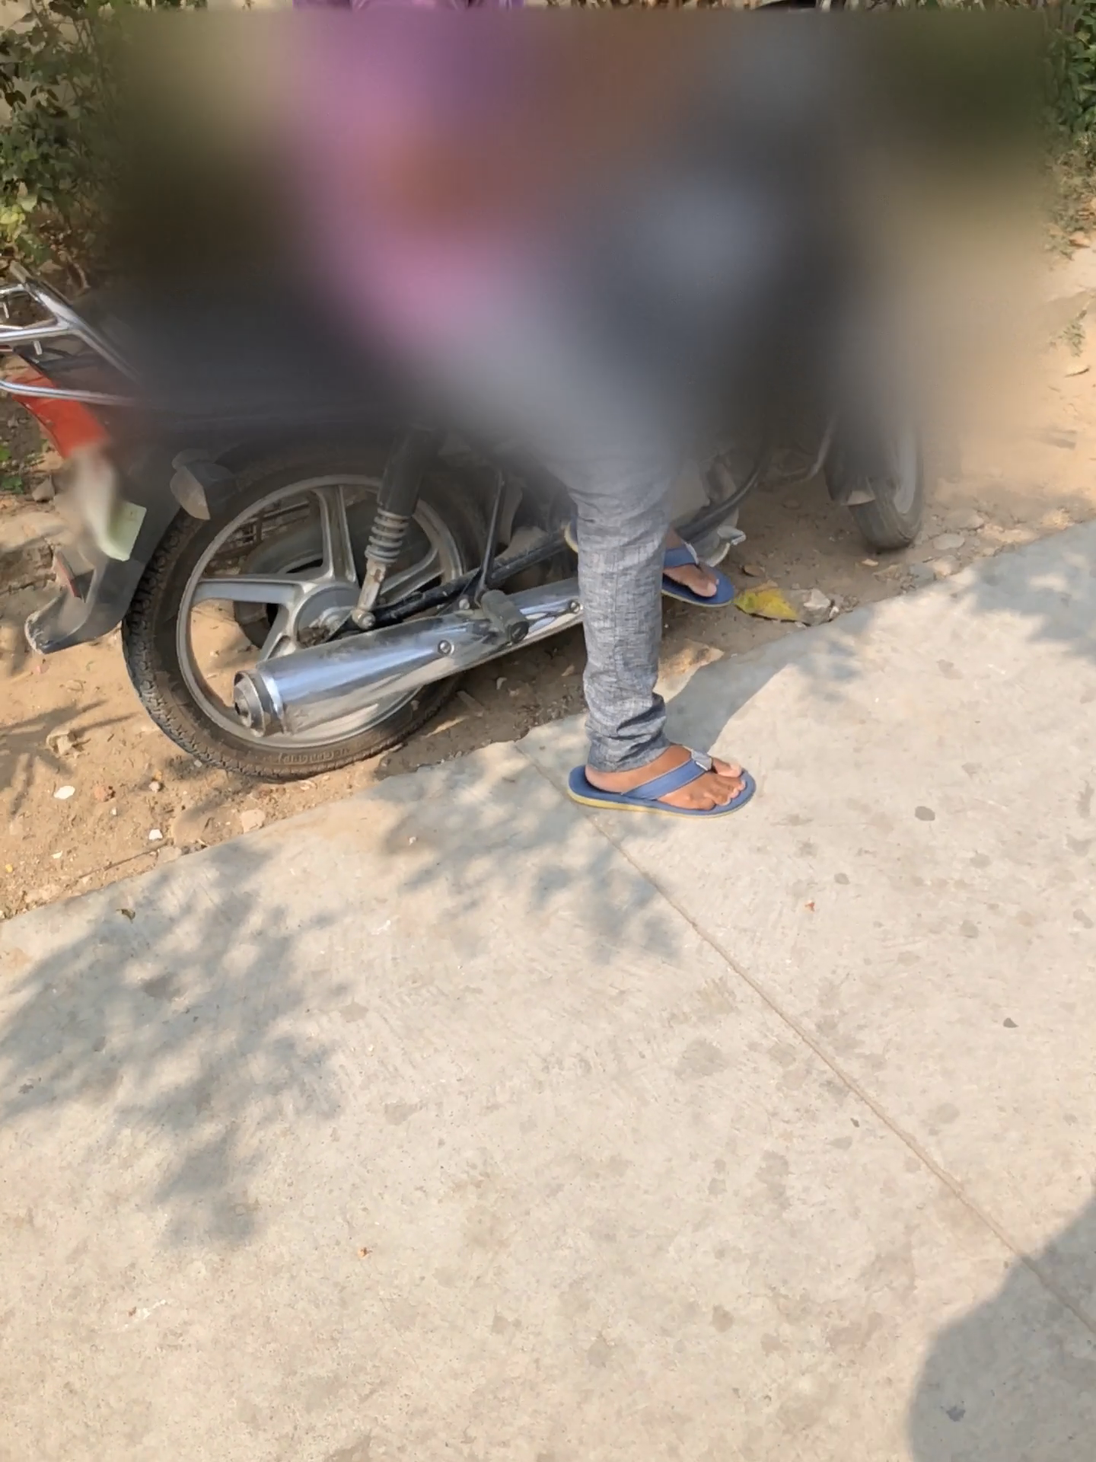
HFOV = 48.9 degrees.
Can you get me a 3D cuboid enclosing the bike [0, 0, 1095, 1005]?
[{"bbox_3d":[0.039,-0.695,2.098,1.766,1.294,0.771,-31,49,-25],"label":"bike"}]
